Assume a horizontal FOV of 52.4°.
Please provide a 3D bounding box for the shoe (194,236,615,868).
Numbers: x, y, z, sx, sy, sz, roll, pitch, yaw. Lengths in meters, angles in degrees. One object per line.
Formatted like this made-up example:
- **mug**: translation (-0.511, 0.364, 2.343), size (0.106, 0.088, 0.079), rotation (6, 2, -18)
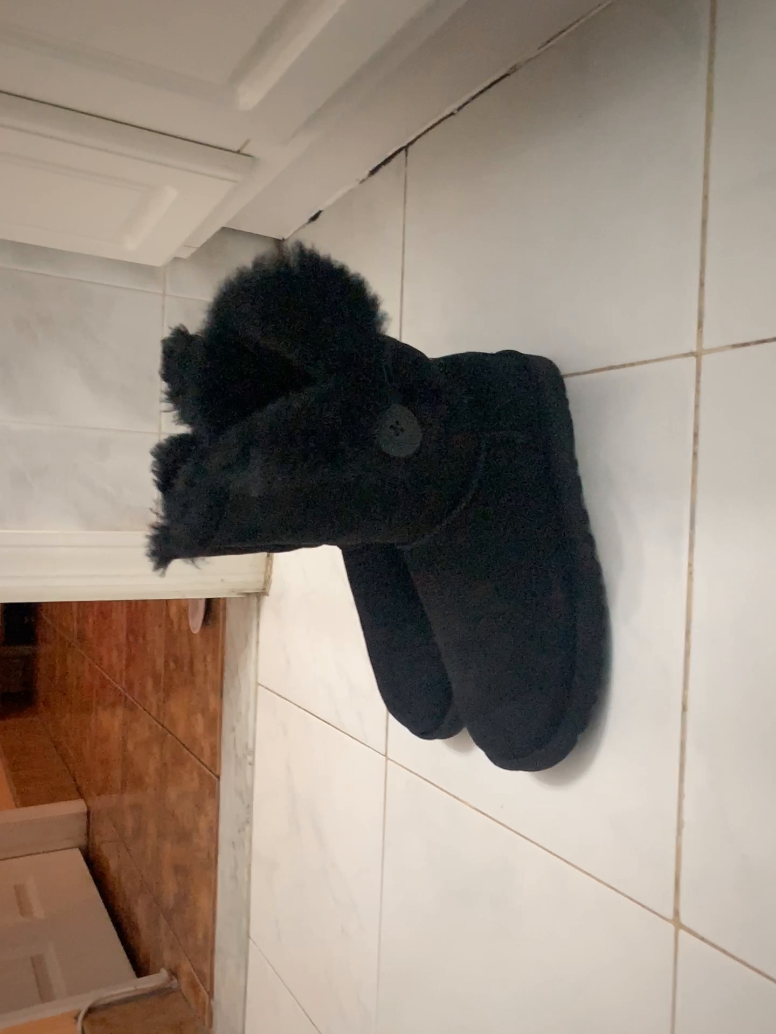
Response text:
- **shoe**: translation (0.004, 0.018, 0.442), size (0.111, 0.189, 0.280), rotation (-16, 75, 59)

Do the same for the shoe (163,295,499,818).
- **shoe**: translation (-0.045, 0.026, 0.527), size (0.121, 0.169, 0.290), rotation (-20, 72, 58)
